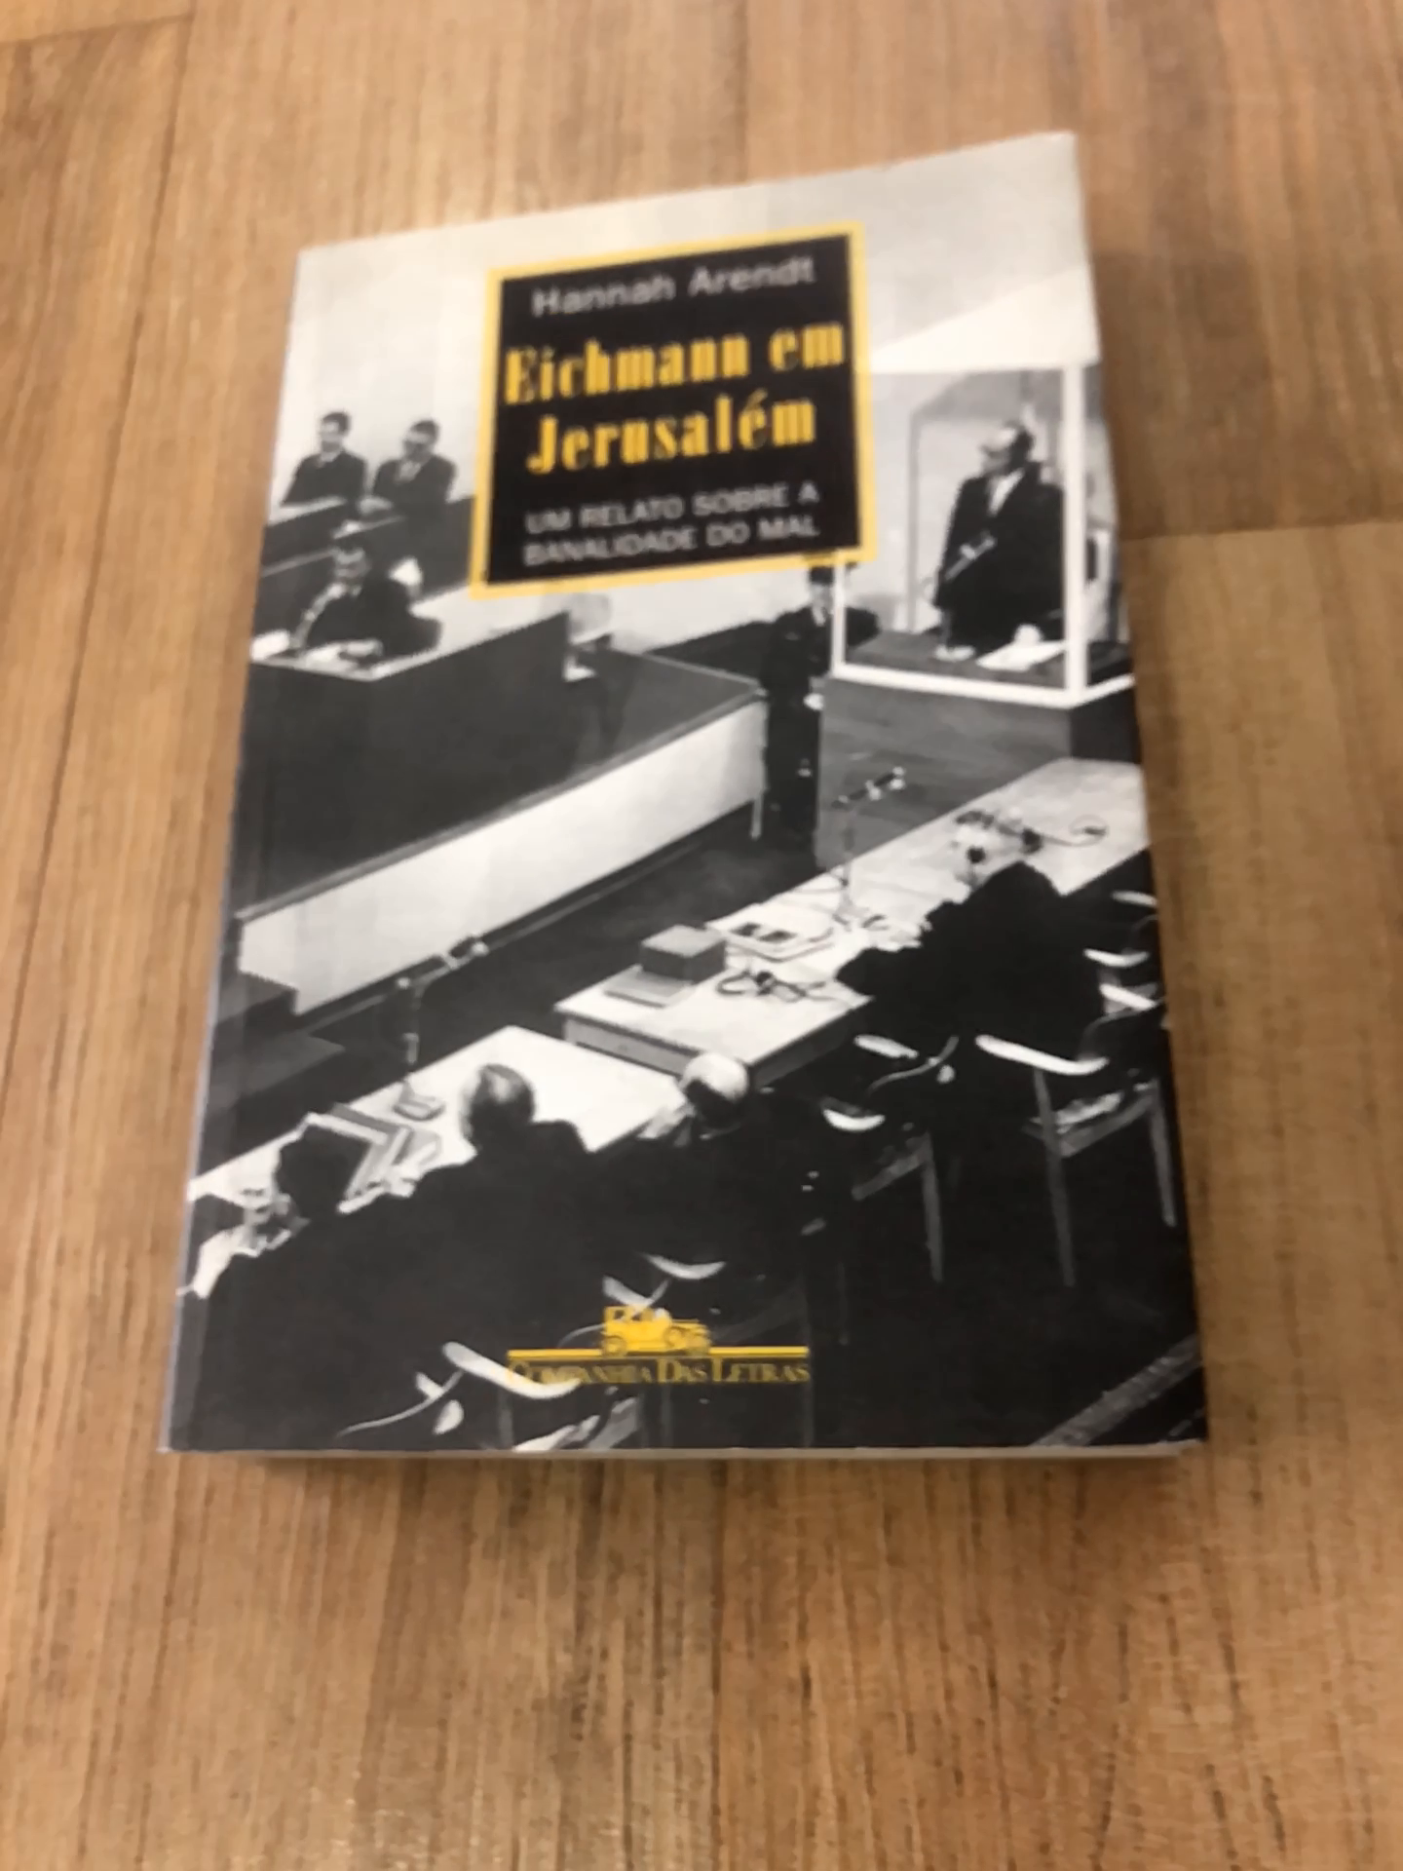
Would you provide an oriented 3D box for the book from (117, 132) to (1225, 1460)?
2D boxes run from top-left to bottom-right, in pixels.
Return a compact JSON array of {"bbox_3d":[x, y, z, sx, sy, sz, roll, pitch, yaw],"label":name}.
[{"bbox_3d":[-0.006,-0.025,0.245,0.140,0.030,0.200,-3,70,9],"label":"book"}]
